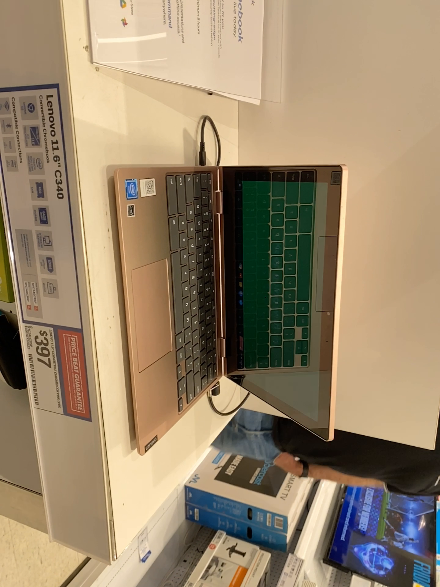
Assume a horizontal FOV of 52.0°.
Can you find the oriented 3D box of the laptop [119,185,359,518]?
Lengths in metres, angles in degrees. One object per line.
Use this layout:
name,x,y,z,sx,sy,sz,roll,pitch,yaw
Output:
laptop,0.035,0.032,0.478,0.197,0.168,0.280,-32,124,-60
